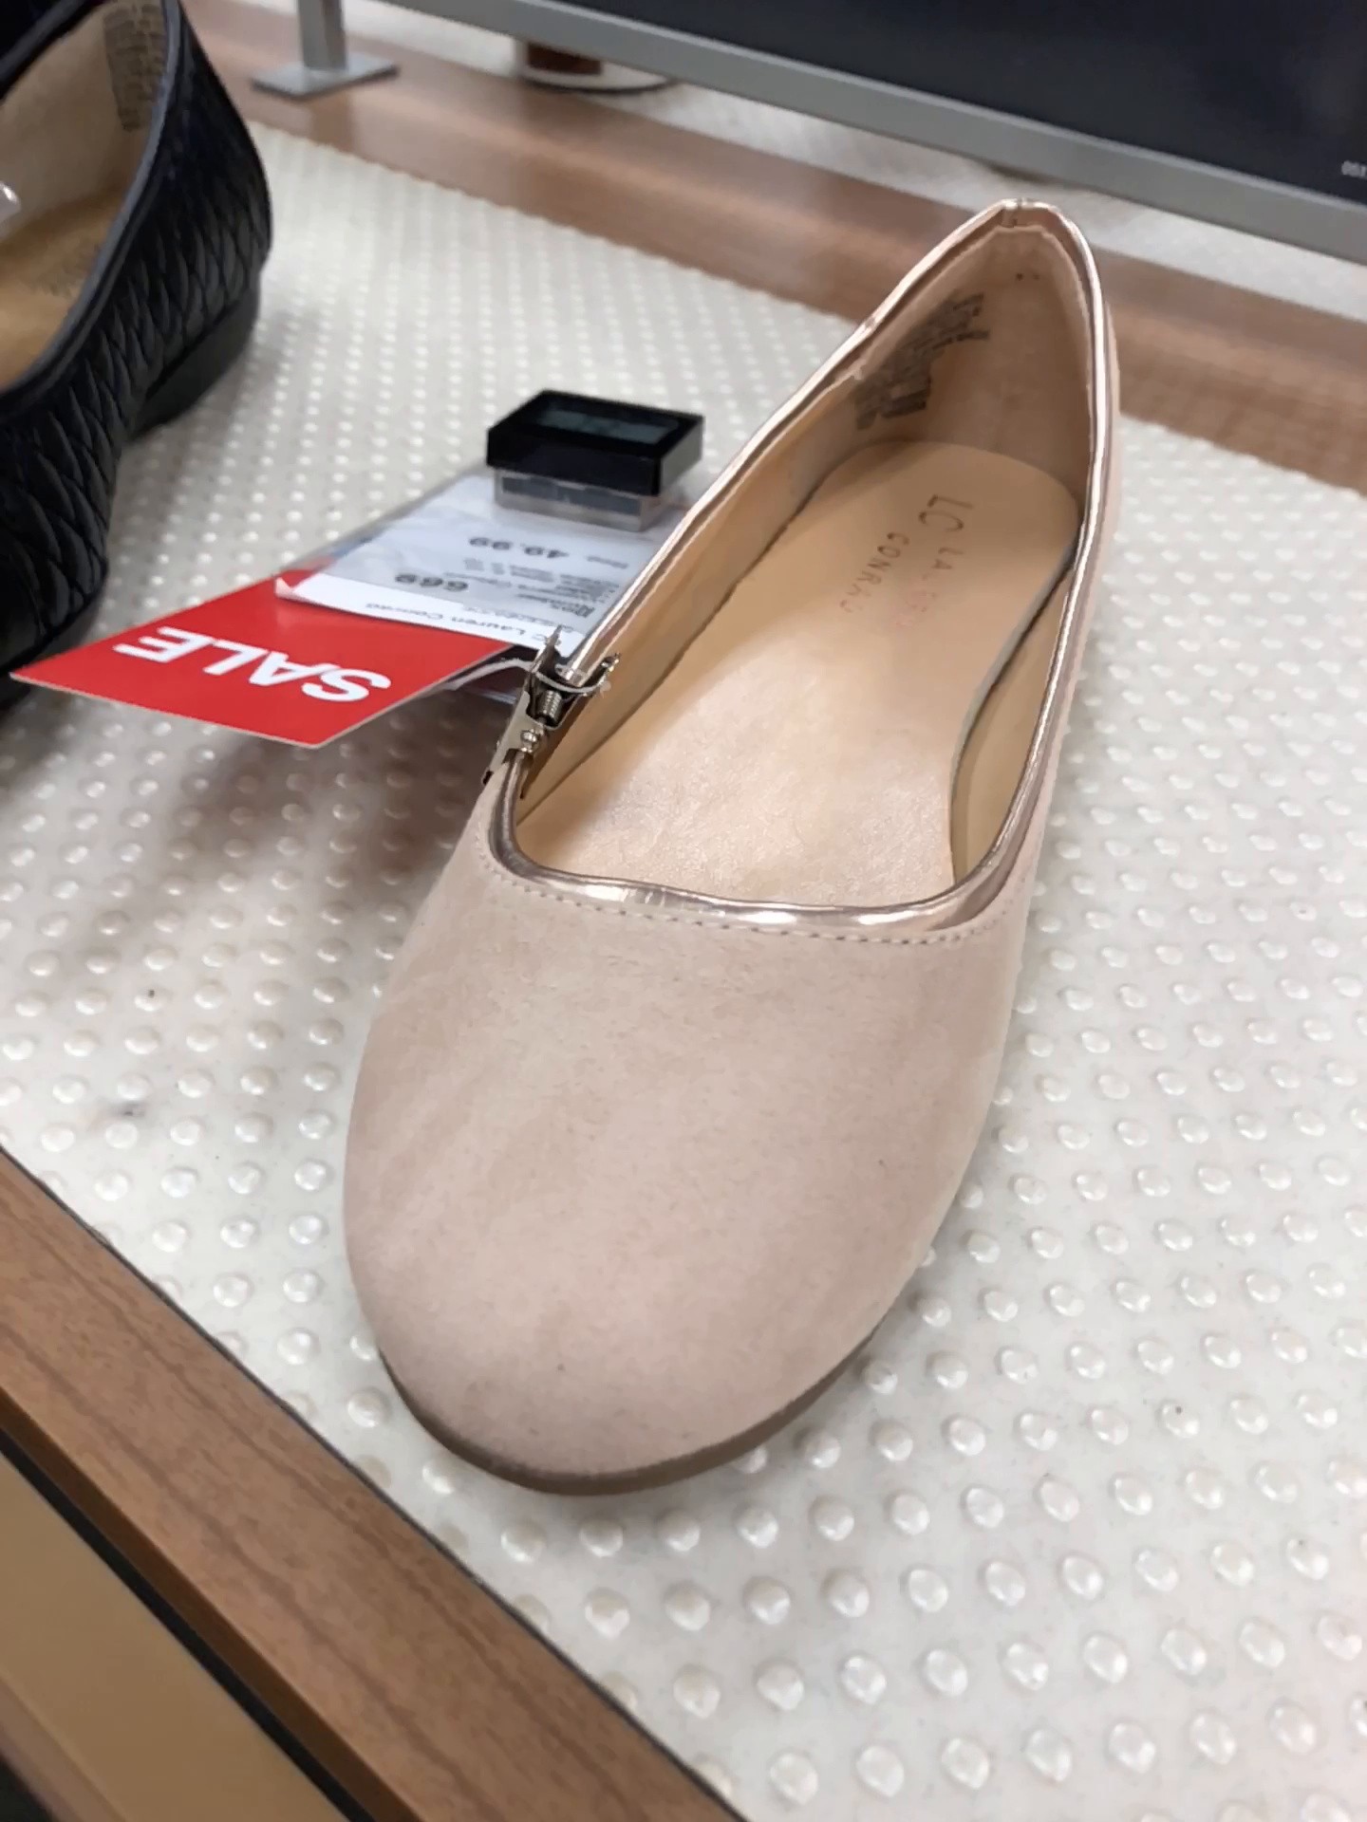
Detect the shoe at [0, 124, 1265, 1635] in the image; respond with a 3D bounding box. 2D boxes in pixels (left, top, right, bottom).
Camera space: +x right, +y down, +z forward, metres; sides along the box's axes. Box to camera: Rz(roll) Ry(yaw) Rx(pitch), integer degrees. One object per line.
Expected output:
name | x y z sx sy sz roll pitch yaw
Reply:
shoe | 0.016 -0.038 0.212 0.085 0.064 0.229 16 44 15
